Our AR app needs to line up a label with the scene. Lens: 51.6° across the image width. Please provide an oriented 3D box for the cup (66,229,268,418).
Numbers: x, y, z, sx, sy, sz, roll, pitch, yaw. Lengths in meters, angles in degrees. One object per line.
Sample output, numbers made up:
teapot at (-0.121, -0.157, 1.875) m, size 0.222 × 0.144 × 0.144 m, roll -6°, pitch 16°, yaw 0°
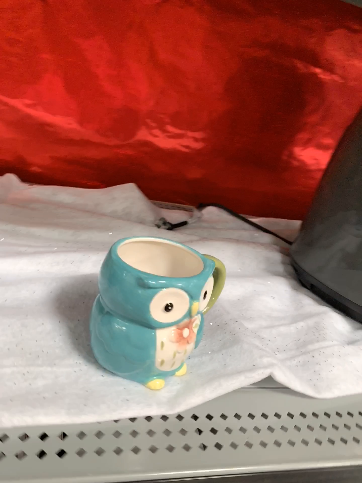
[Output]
cup at (-0.014, 0.059, 0.336) m, size 0.127 × 0.087 × 0.108 m, roll -12°, pitch 35°, yaw -45°
